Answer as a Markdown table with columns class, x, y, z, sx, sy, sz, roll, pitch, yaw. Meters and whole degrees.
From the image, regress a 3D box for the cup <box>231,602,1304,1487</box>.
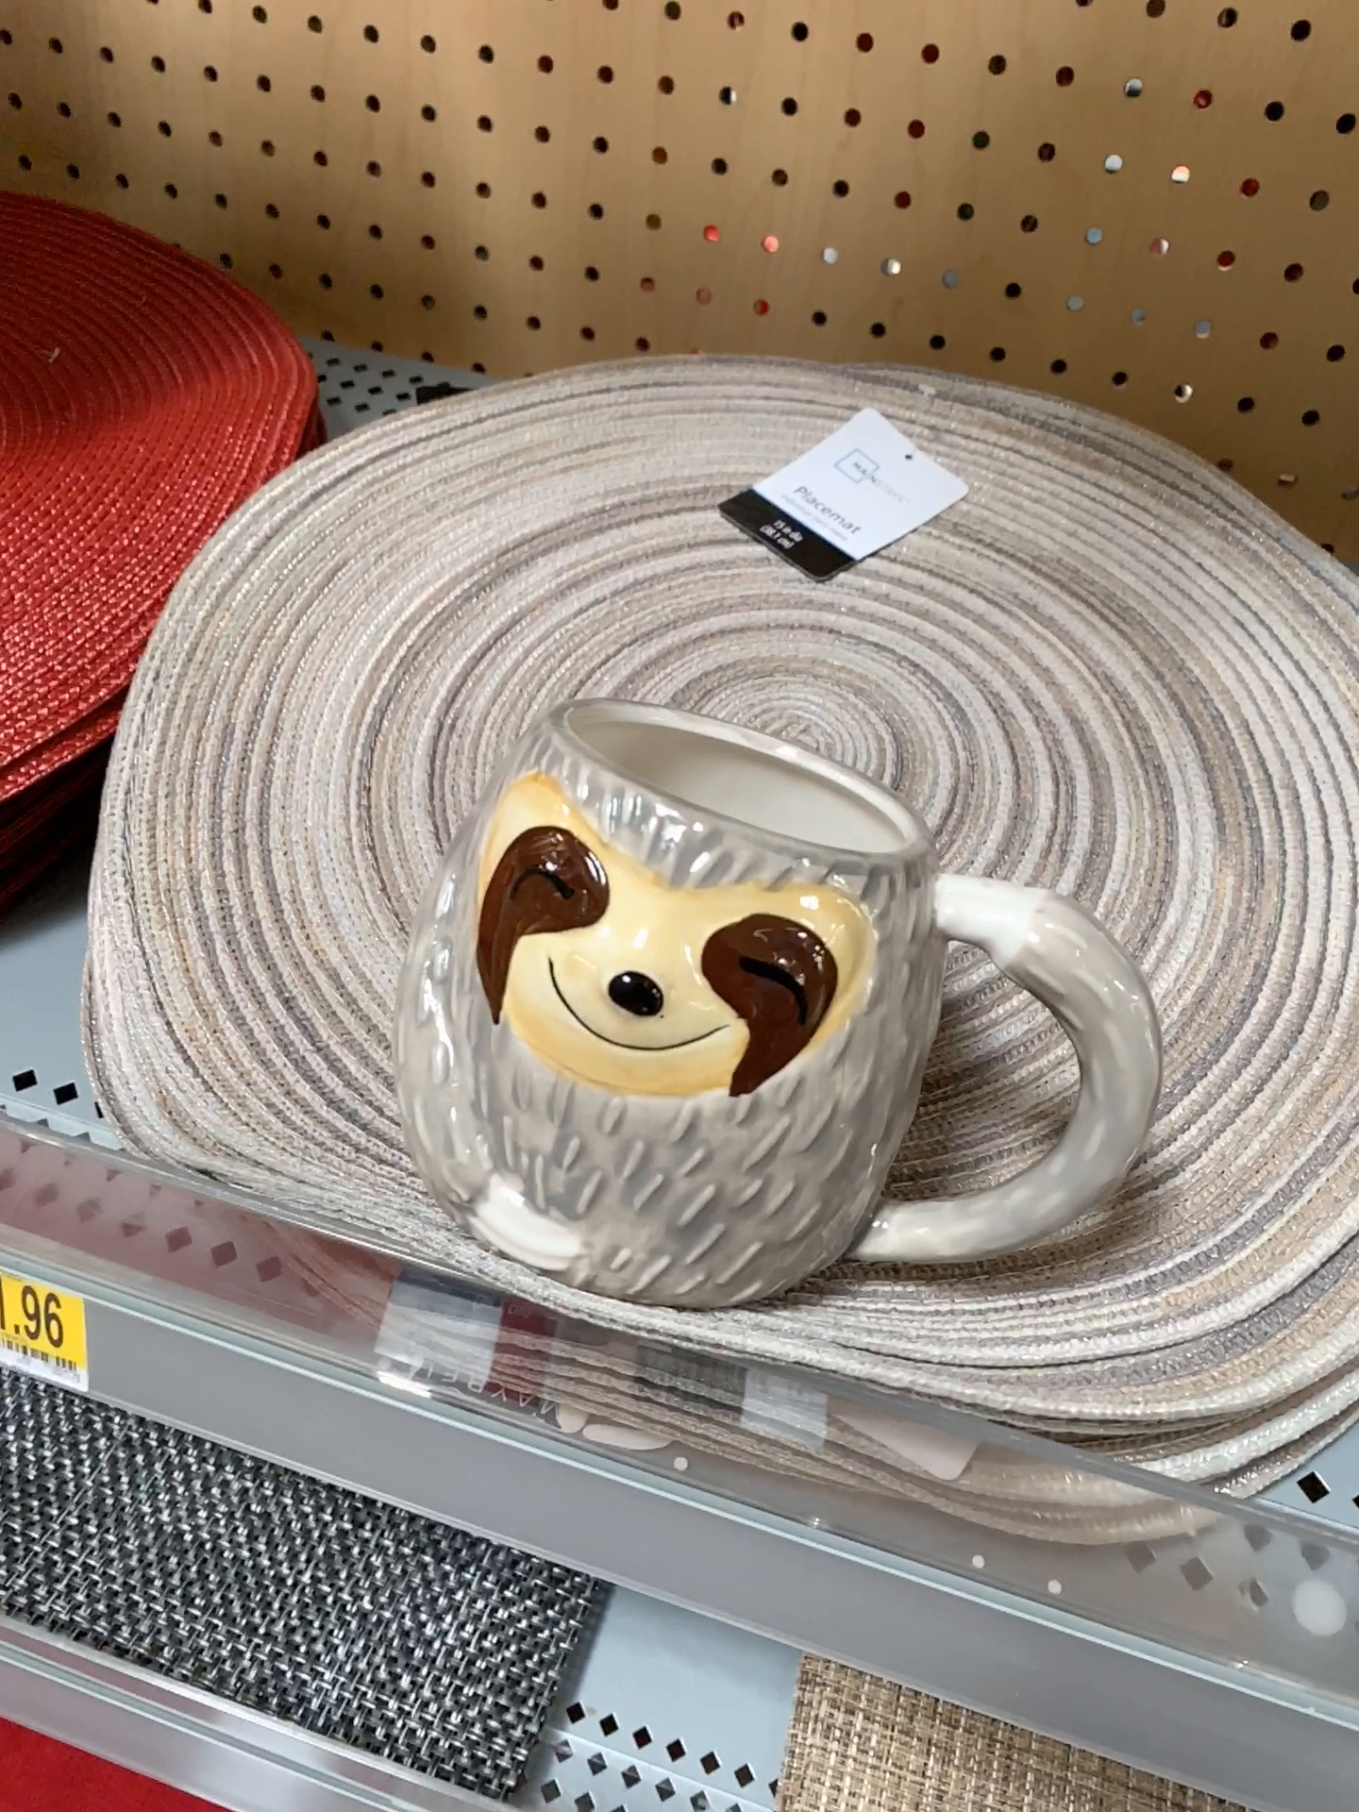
| class | x | y | z | sx | sy | sz | roll | pitch | yaw |
| --- | --- | --- | --- | --- | --- | --- | --- | --- | --- |
| cup | 0.015 | 0.014 | 0.268 | 0.150 | 0.089 | 0.106 | 18 | 23 | 5 |
